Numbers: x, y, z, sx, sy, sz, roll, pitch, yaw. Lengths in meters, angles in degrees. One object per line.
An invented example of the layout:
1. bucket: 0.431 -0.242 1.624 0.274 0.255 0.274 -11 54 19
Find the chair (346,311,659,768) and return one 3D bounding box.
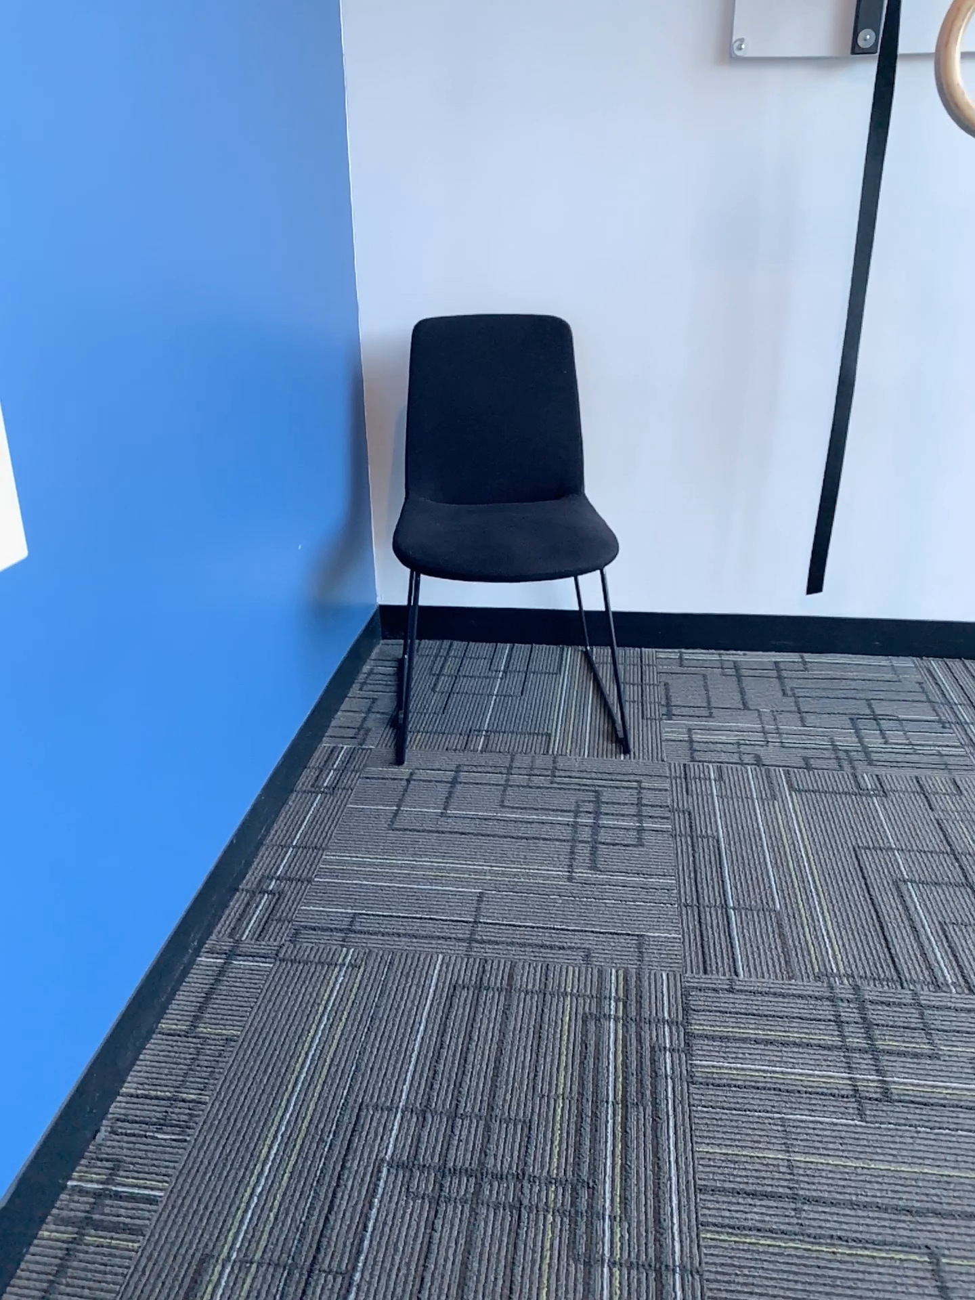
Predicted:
1. chair: 0.010 -0.253 1.997 0.500 0.756 0.583 -2 23 -3
